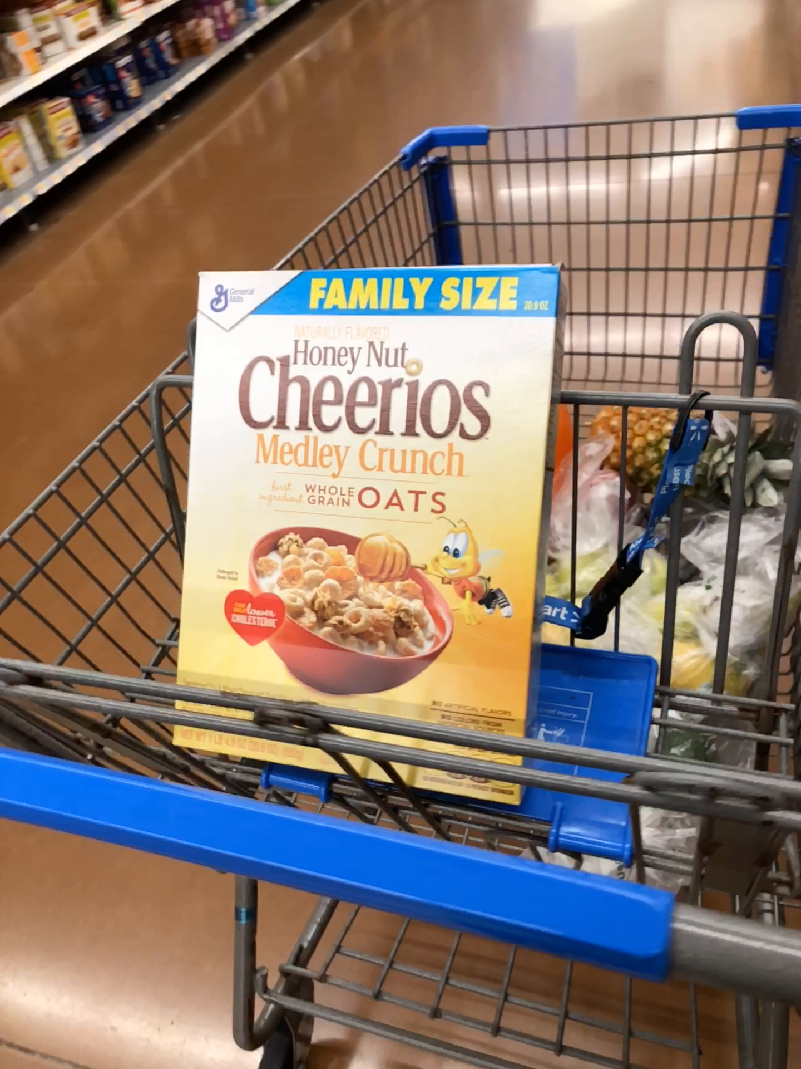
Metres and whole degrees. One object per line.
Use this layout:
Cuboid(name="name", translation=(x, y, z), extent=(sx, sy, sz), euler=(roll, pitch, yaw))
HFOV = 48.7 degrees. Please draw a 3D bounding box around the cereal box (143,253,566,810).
Cuboid(name="cereal box", translation=(-0.033, -0.009, 0.580), extent=(0.250, 0.320, 0.070), euler=(4, 2, 18))
